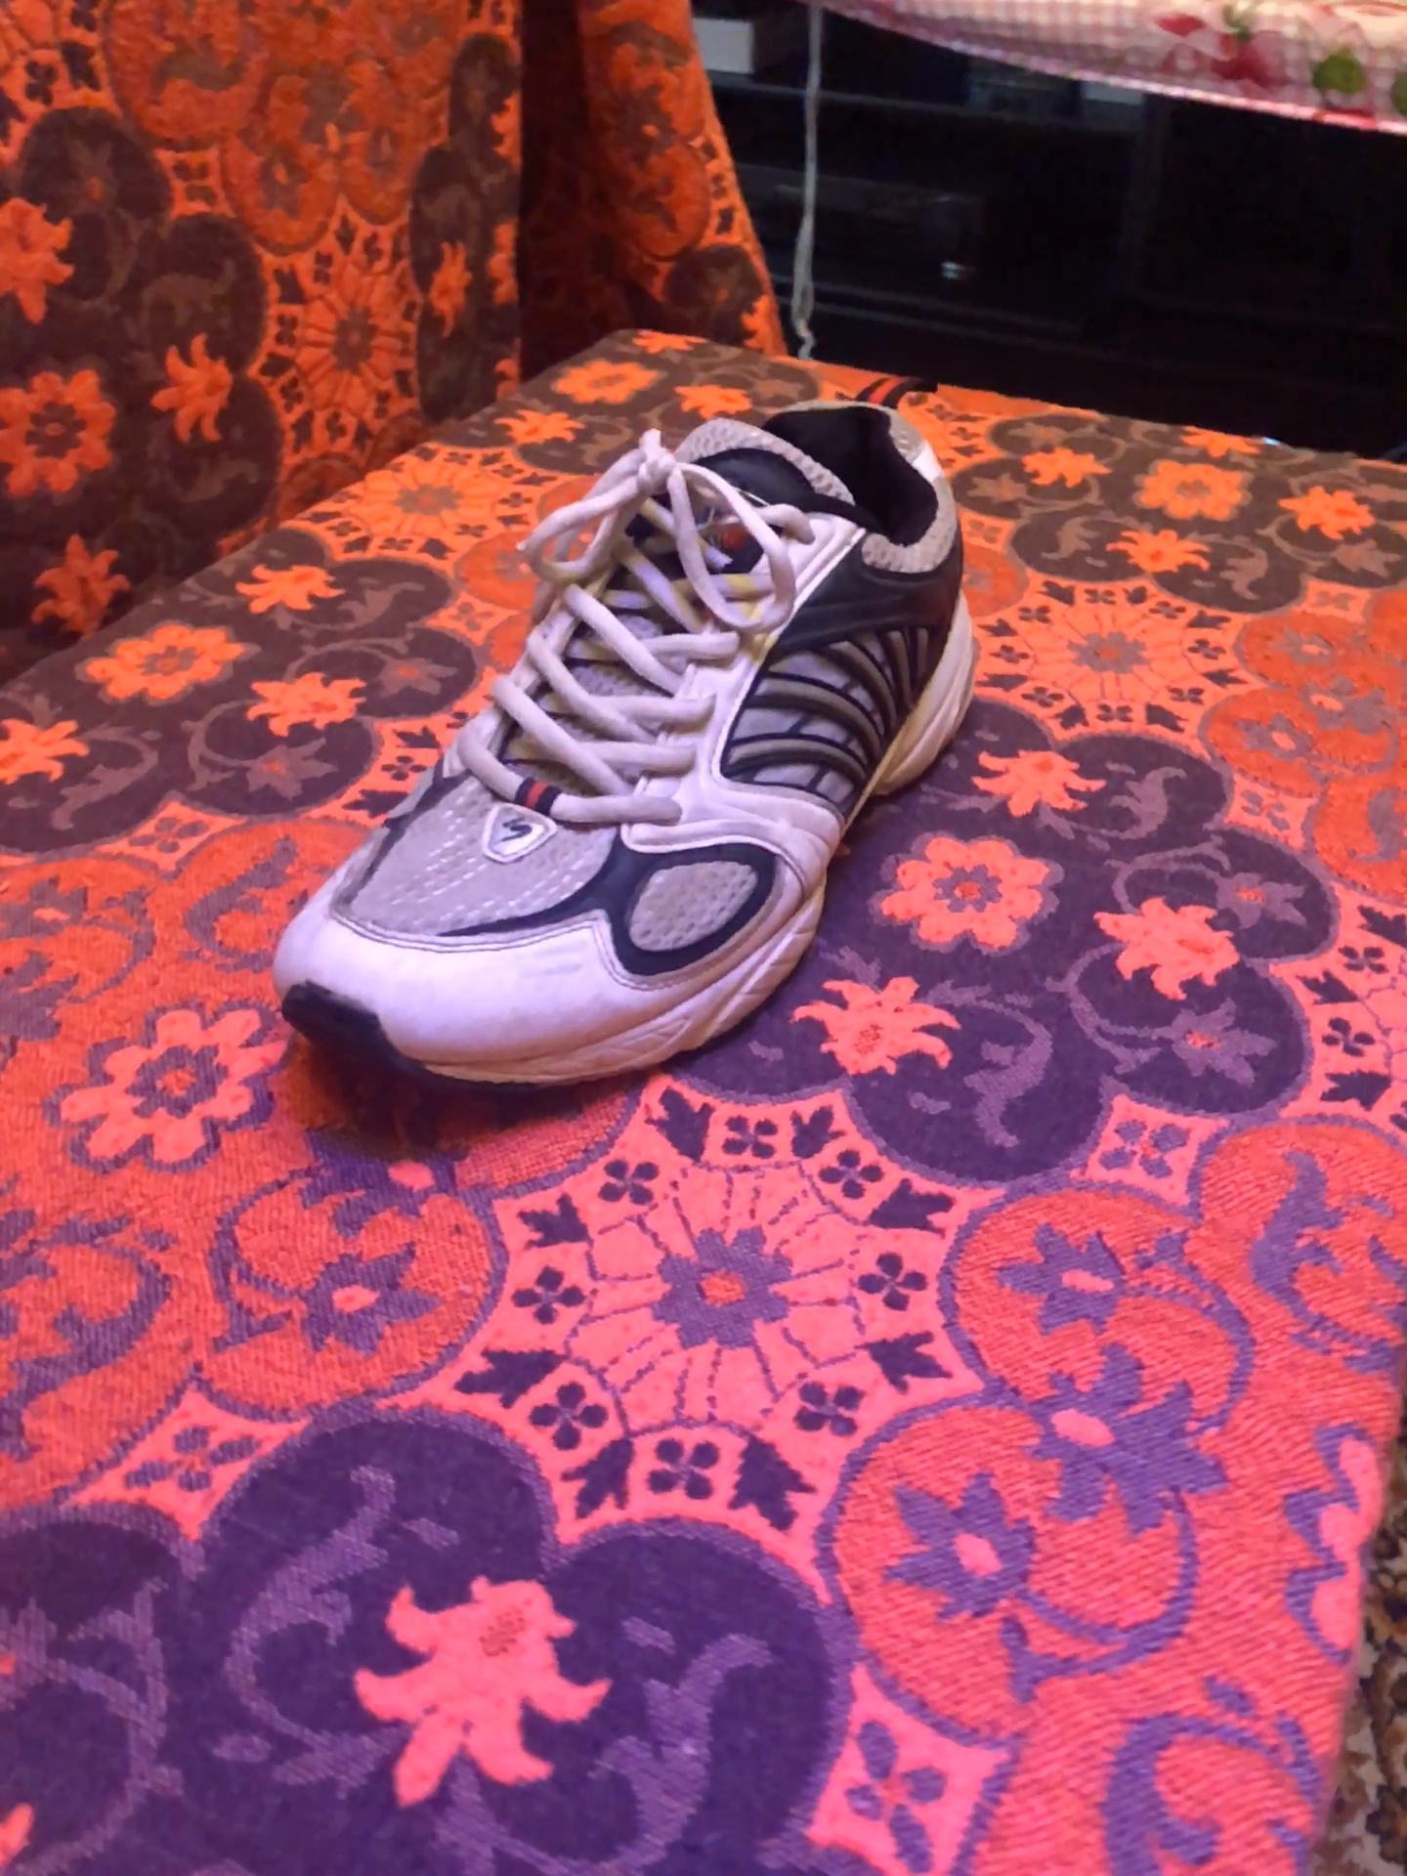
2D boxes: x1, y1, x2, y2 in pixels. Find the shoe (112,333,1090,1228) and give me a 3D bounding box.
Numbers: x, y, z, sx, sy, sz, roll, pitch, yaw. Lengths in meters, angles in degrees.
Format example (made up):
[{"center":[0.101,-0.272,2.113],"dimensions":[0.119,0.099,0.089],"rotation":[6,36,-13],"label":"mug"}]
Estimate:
[{"center":[0.001,-0.075,0.437],"dimensions":[0.120,0.090,0.311],"rotation":[17,40,21],"label":"shoe"}]
